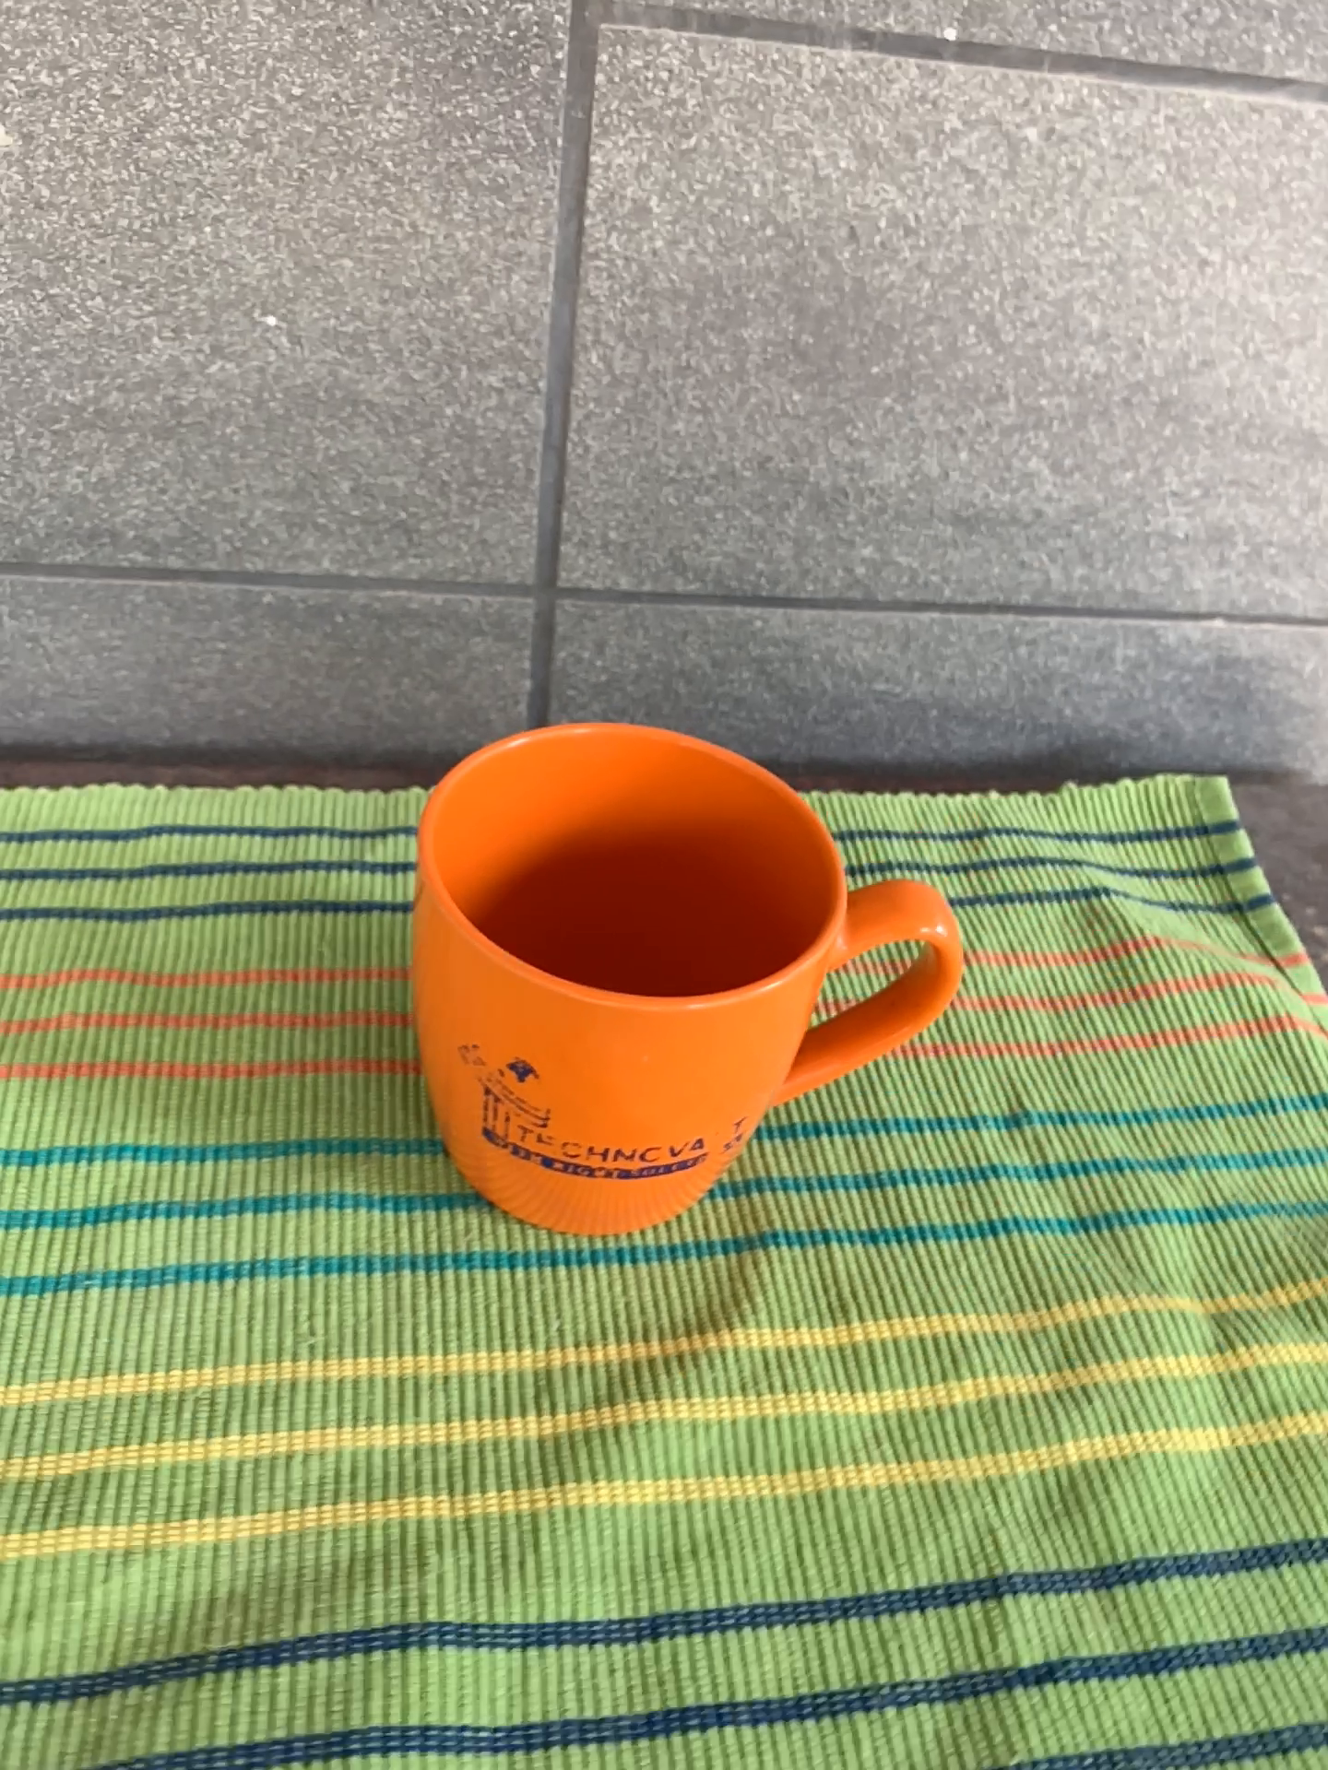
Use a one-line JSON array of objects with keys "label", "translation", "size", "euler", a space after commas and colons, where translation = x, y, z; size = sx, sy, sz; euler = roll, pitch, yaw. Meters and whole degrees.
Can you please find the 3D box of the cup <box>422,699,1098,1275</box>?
[{"label": "cup", "translation": [0.009, 0.019, 0.300], "size": [0.120, 0.080, 0.090], "euler": [0, 41, -11]}]
